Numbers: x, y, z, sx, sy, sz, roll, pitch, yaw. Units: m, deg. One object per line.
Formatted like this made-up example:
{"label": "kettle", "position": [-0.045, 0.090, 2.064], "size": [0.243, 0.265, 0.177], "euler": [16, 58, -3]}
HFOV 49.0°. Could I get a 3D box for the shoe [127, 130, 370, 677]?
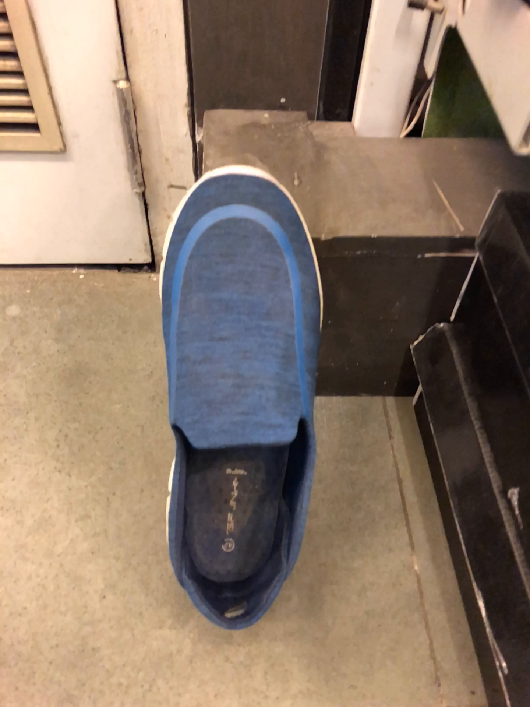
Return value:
{"label": "shoe", "position": [-0.015, 0.027, 0.336], "size": [0.110, 0.272, 0.095], "euler": [2, 7, -6]}
